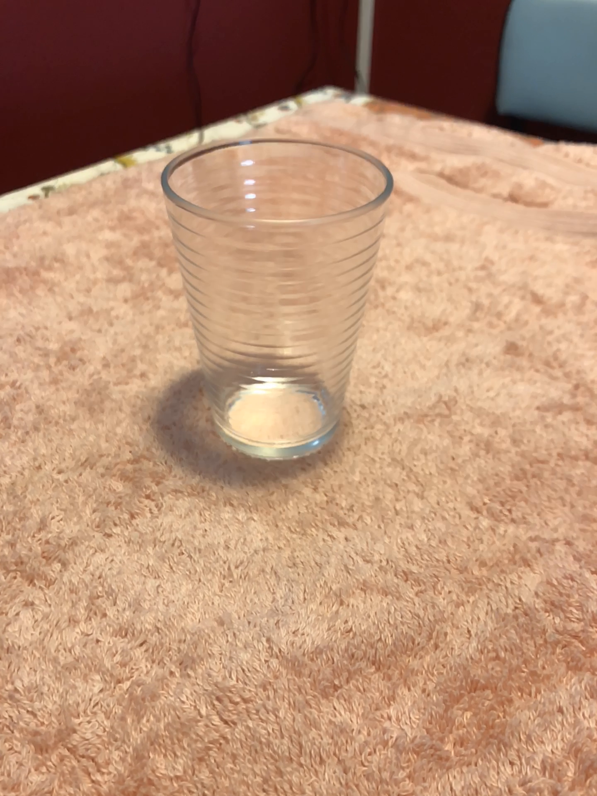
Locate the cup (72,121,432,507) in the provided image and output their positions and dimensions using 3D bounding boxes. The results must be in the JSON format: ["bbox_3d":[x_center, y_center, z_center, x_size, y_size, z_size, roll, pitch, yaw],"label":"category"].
[{"bbox_3d":[-0.012,-0.034,0.236,0.080,0.089,0.080,0,38,0],"label":"cup"}]
